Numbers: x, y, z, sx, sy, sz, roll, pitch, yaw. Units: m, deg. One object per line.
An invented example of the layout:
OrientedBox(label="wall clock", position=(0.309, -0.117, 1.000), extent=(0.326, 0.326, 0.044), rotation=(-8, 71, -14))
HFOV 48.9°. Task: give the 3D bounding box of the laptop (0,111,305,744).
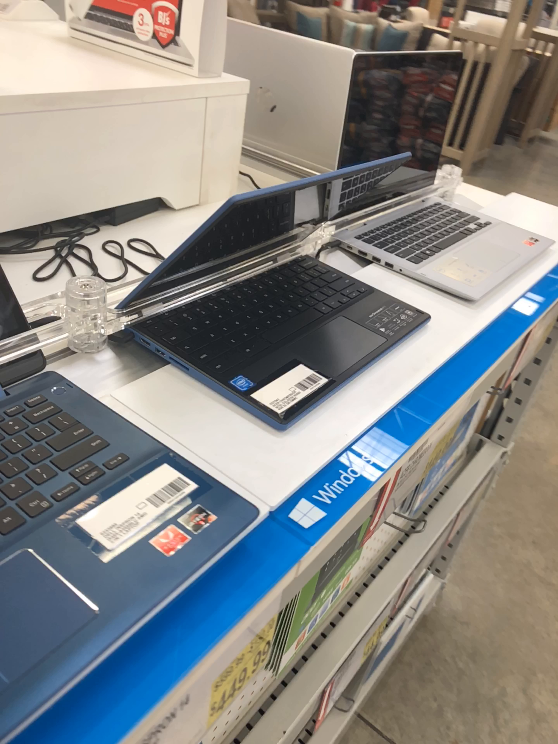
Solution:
OrientedBox(label="laptop", position=(-0.233, 0.005, 0.329), extent=(0.367, 0.169, 0.306), rotation=(28, 37, 25))

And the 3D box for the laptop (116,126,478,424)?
OrientedBox(label="laptop", position=(0.024, -0.120, 0.601), extent=(0.194, 0.159, 0.294), rotation=(30, 38, 25))

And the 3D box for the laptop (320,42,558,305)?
OrientedBox(label="laptop", position=(0.269, -0.309, 0.879), extent=(0.255, 0.218, 0.342), rotation=(32, 41, 25))
